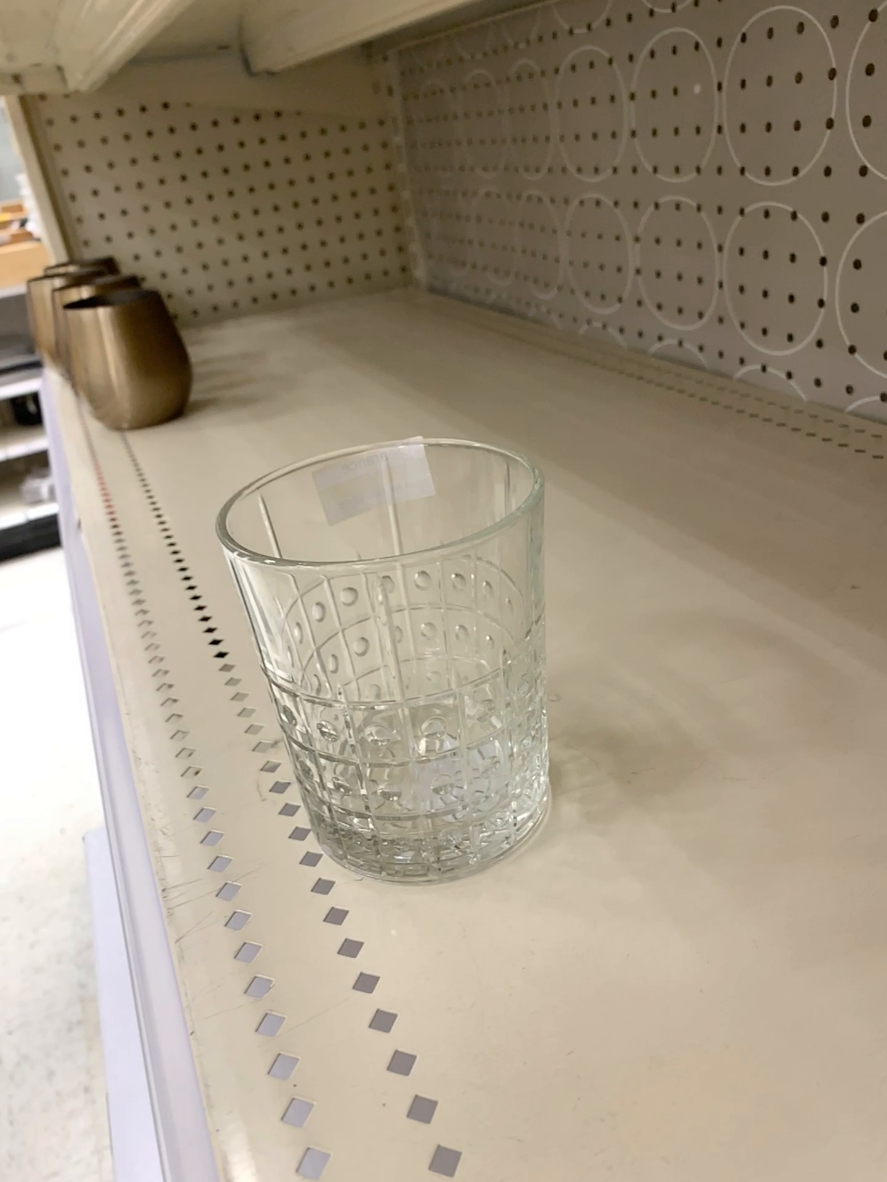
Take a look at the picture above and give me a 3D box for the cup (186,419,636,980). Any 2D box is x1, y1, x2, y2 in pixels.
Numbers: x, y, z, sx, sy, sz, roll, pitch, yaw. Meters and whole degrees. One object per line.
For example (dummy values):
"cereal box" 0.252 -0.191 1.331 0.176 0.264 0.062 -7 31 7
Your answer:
"cup" -0.010 0.024 0.269 0.090 0.109 0.090 -7 28 4
